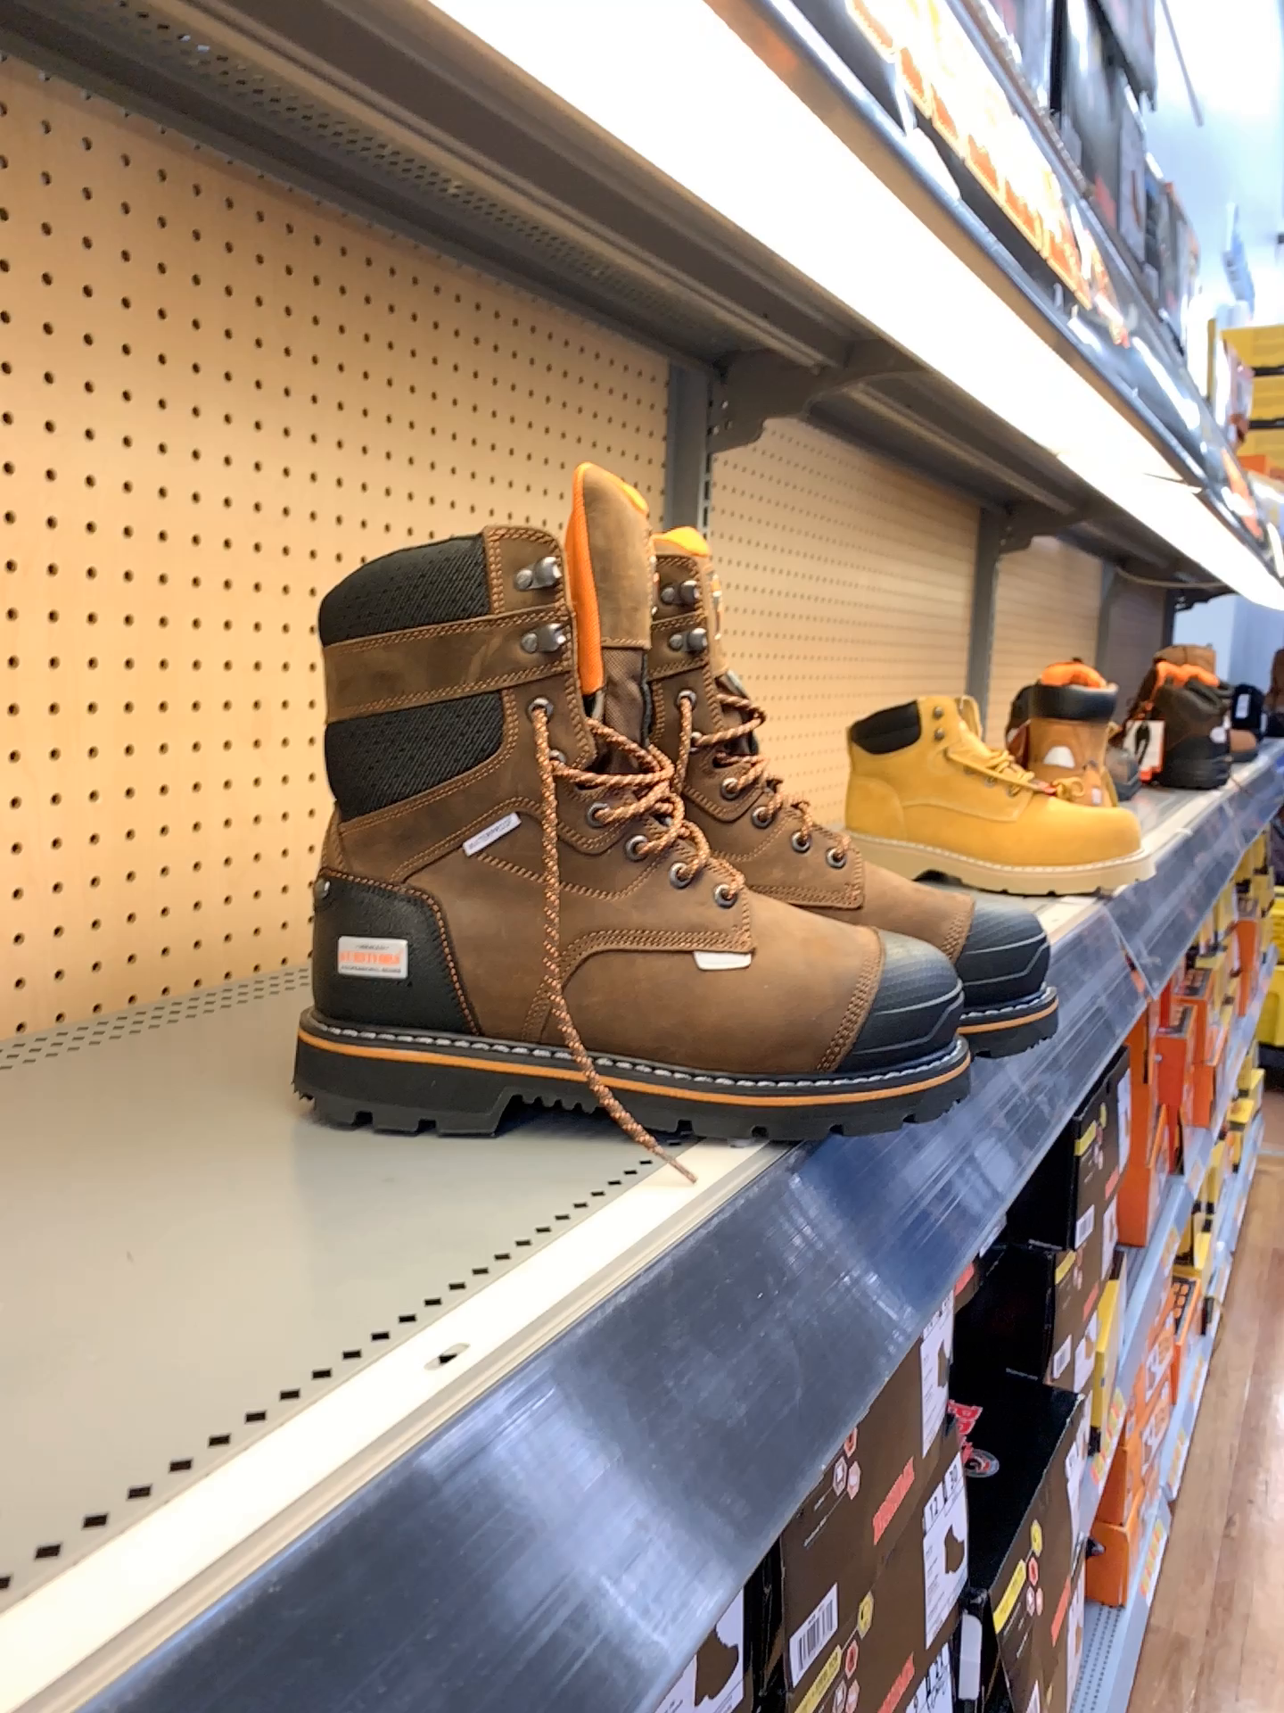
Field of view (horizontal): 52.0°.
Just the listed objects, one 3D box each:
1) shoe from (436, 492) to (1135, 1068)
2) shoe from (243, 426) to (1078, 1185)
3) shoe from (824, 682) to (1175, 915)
[{"bbox_3d":[0.066,-0.044,0.699,0.318,0.260,0.134,3,8,3],"label":"shoe"},{"bbox_3d":[0.003,-0.028,0.582,0.313,0.280,0.136,3,8,4],"label":"shoe"},{"bbox_3d":[0.329,-0.064,1.222,0.273,0.179,0.146,8,10,29],"label":"shoe"}]
